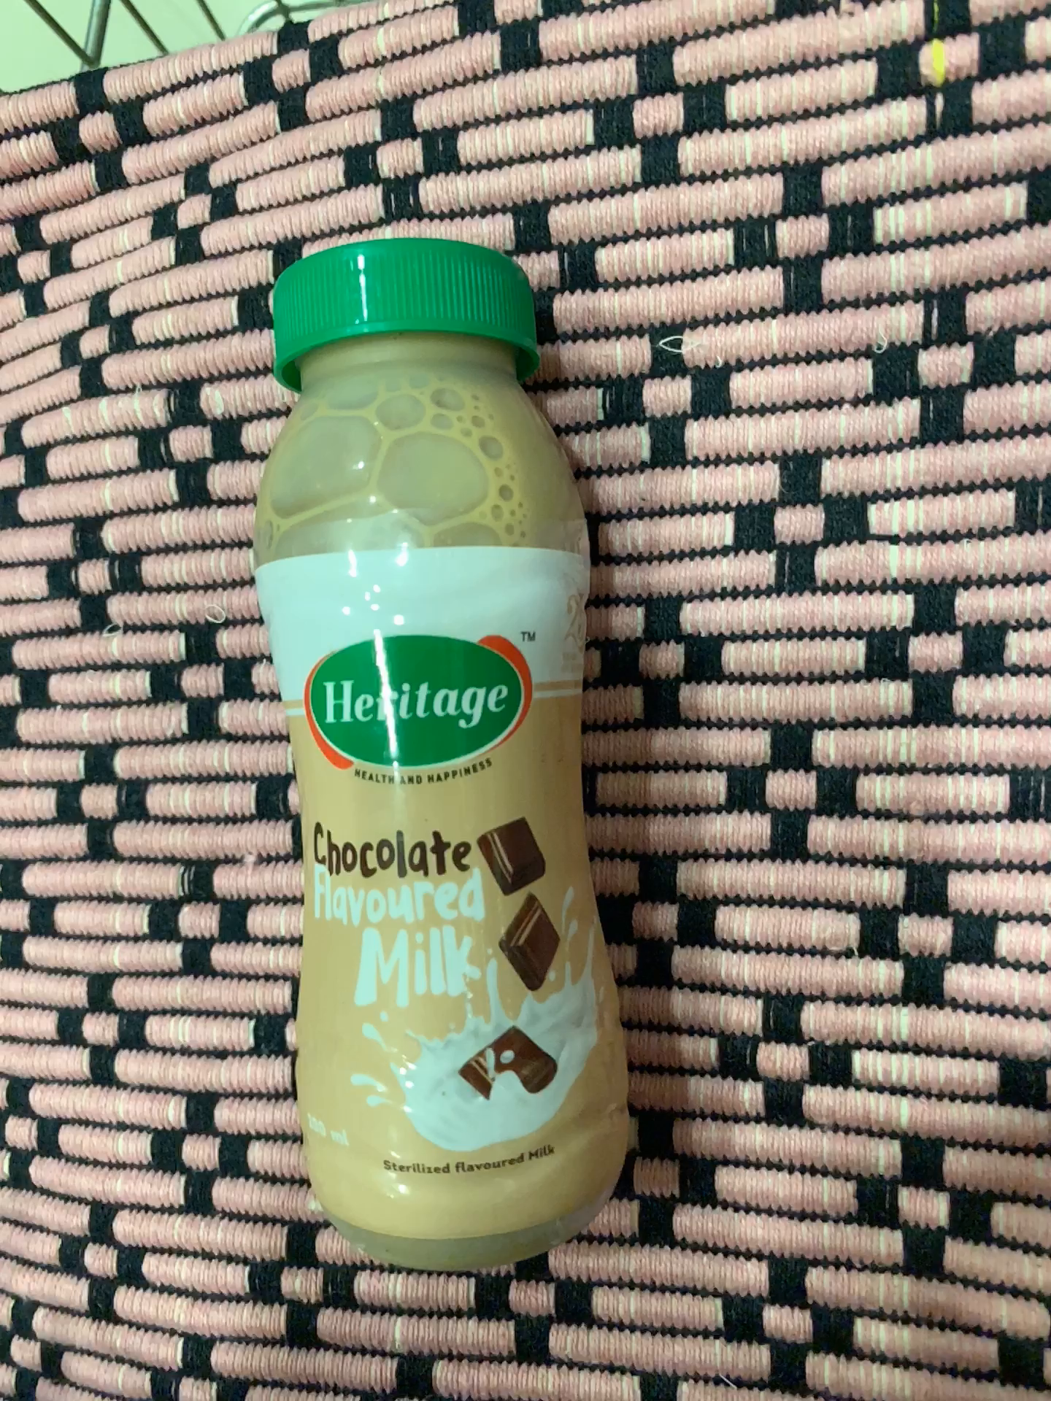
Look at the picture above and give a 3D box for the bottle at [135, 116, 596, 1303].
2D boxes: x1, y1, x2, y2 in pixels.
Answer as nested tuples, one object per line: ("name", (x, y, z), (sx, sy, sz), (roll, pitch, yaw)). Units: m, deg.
("bottle", (-0.019, 0.002, 0.156), (0.050, 0.050, 0.140), (-3, 87, 6))
